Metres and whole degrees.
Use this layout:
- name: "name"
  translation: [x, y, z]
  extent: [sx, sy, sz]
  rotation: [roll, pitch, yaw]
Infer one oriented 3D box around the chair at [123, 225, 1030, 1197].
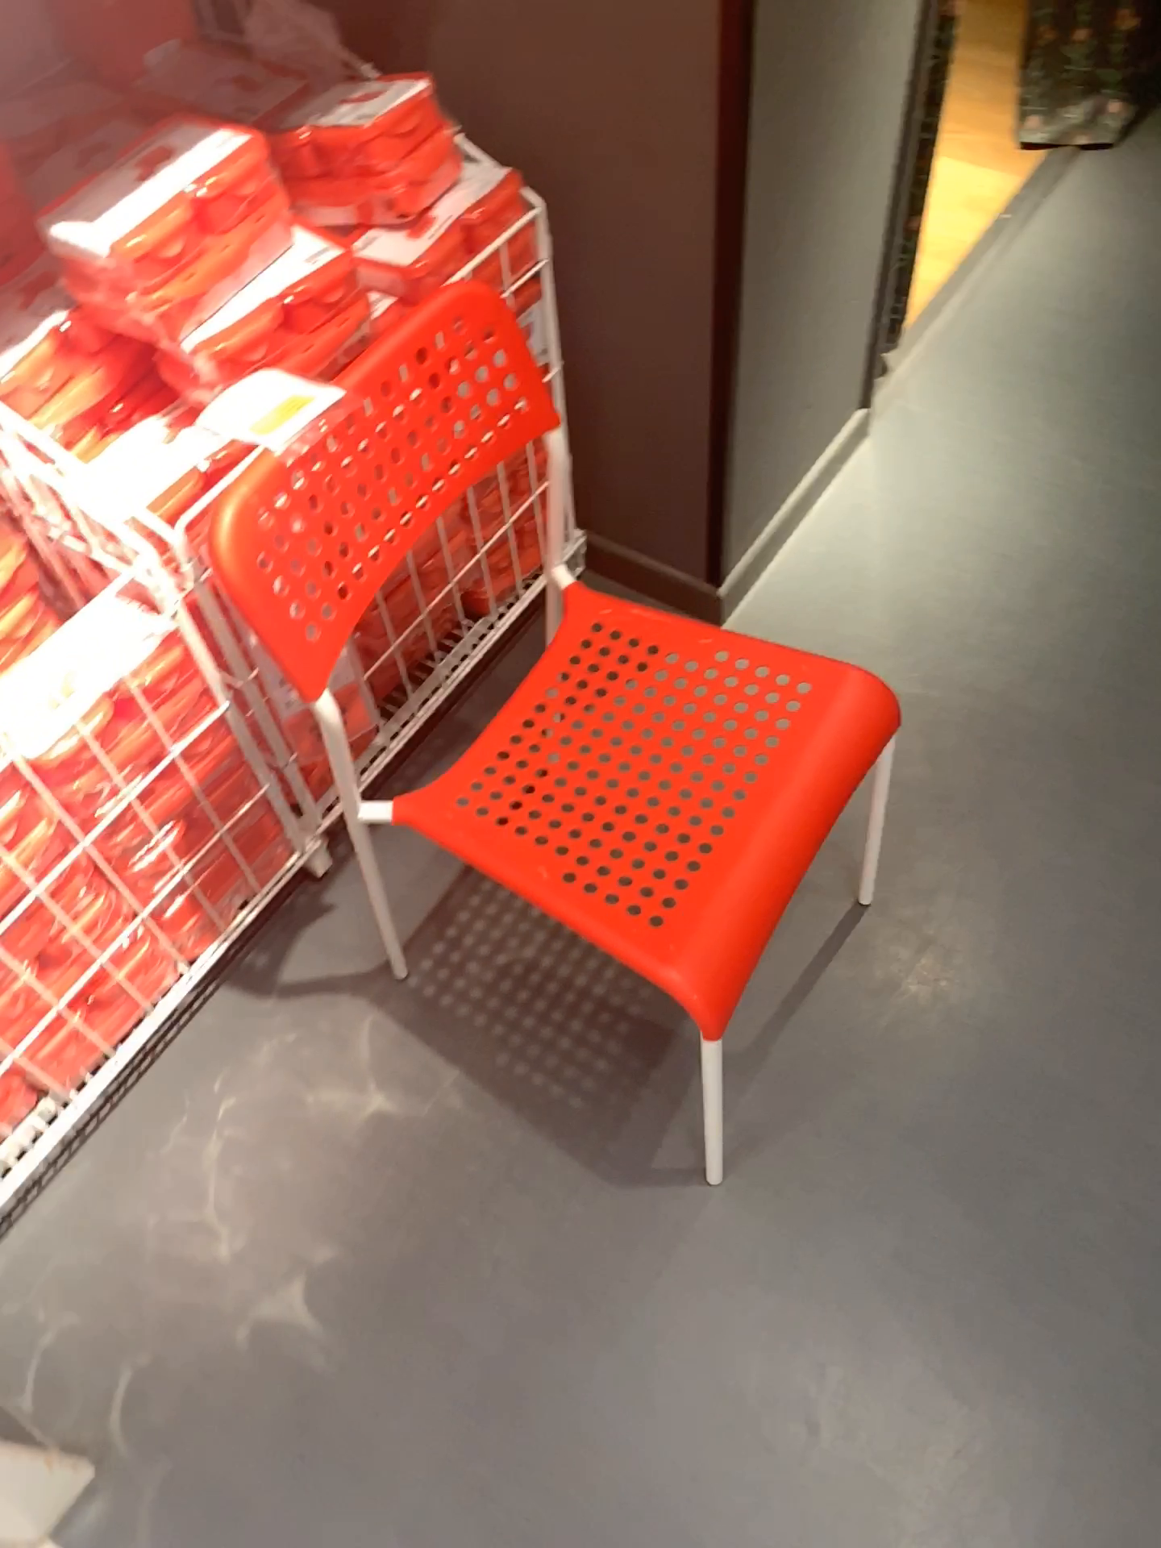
- name: "chair"
  translation: [0.026, -0.013, 1.070]
  extent: [0.461, 0.688, 0.411]
  rotation: [26, 61, 21]
